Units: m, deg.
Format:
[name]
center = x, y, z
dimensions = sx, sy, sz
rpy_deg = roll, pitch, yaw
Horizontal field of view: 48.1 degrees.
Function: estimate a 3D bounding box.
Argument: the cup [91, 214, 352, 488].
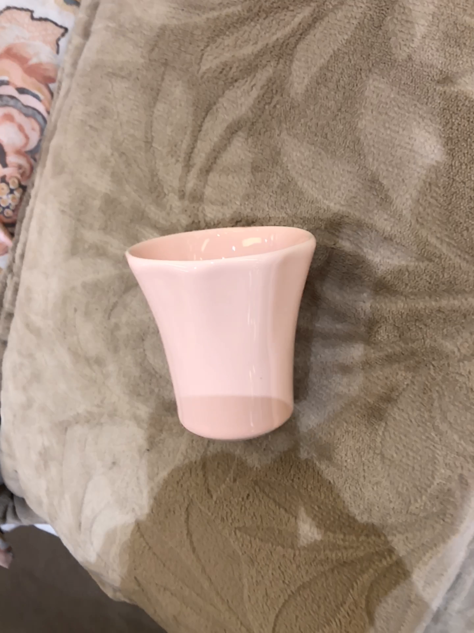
[cup]
center = -0.010, 0.003, 0.241
dimensions = 0.100, 0.070, 0.090
rpy_deg = 18, 117, 57
